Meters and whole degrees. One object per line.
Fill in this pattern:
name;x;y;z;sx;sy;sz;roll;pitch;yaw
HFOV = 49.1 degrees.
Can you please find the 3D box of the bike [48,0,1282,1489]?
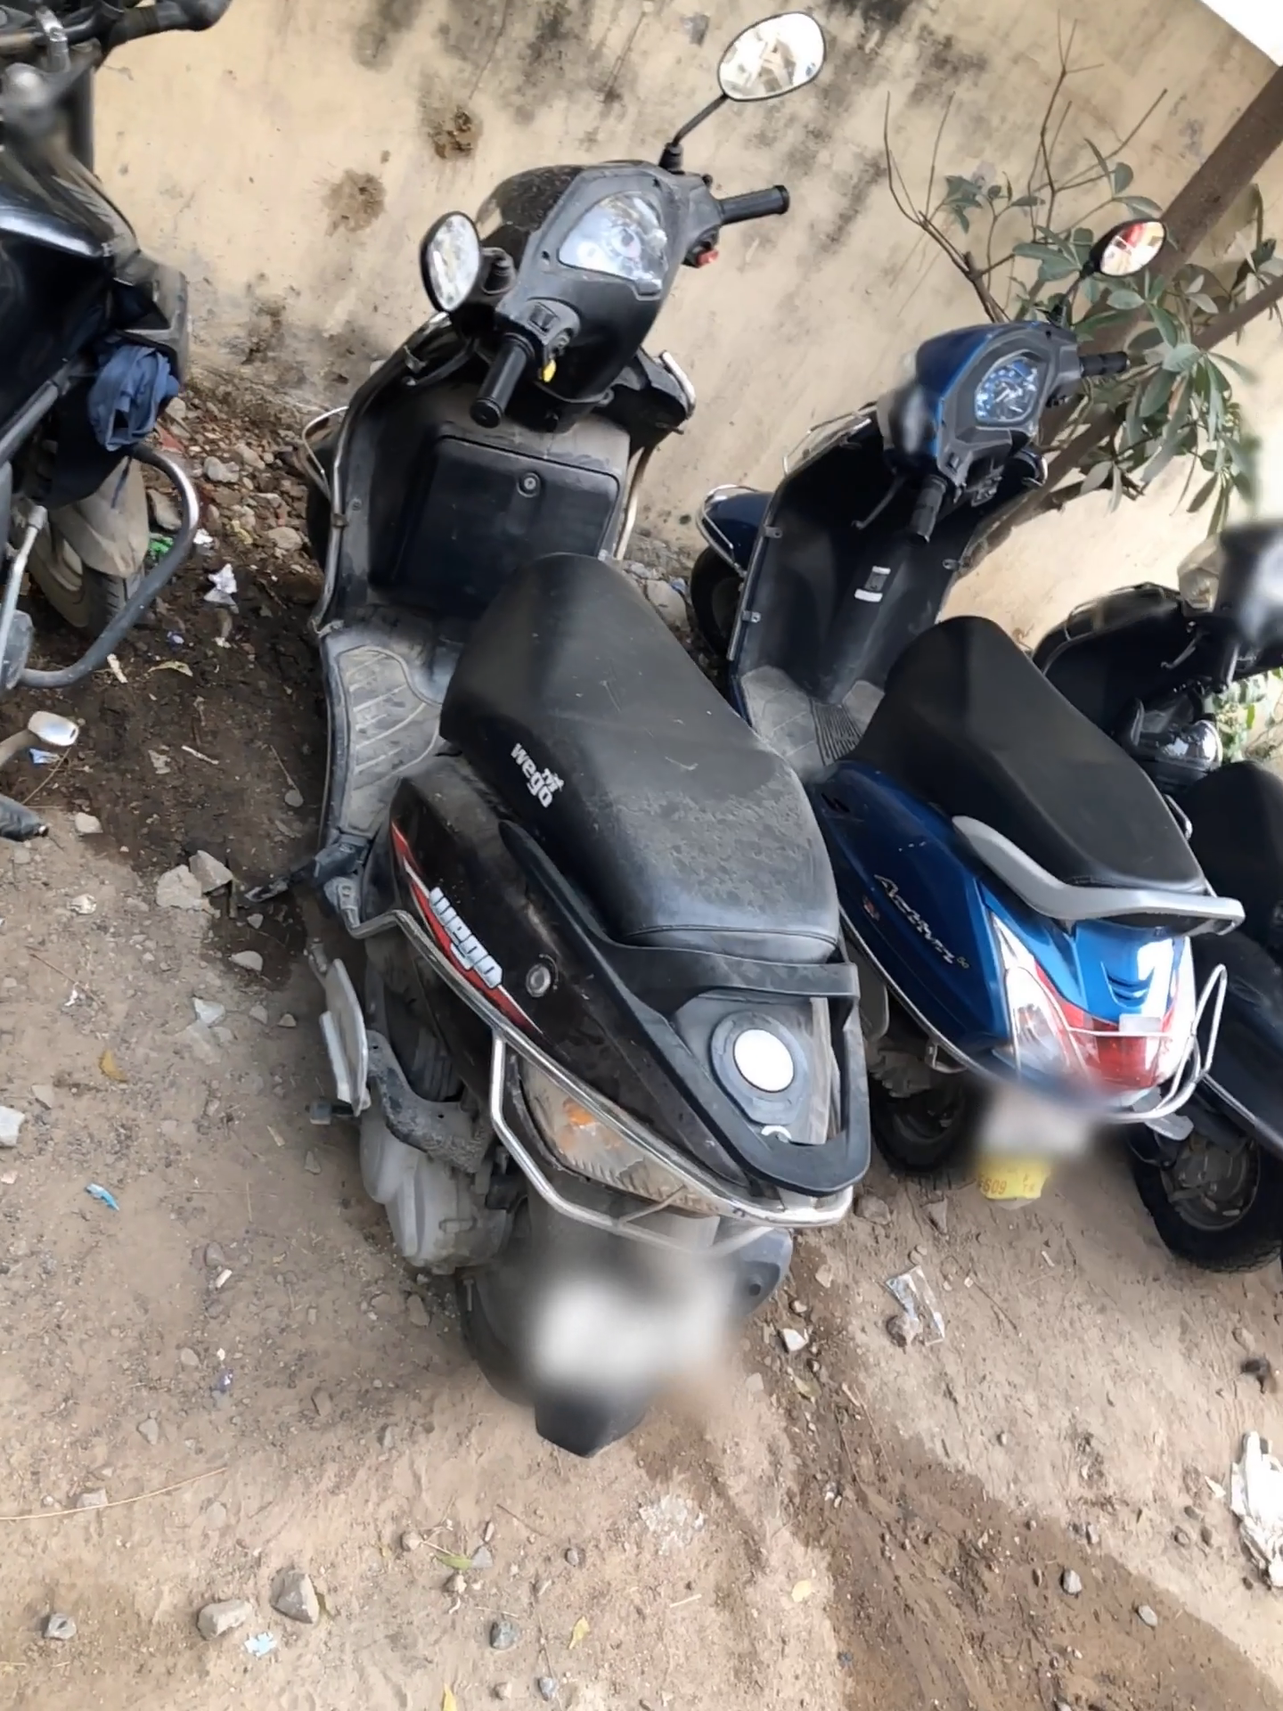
bike;-0.195;-0.363;1.637;0.529;1.114;1.563;9;43;-37
